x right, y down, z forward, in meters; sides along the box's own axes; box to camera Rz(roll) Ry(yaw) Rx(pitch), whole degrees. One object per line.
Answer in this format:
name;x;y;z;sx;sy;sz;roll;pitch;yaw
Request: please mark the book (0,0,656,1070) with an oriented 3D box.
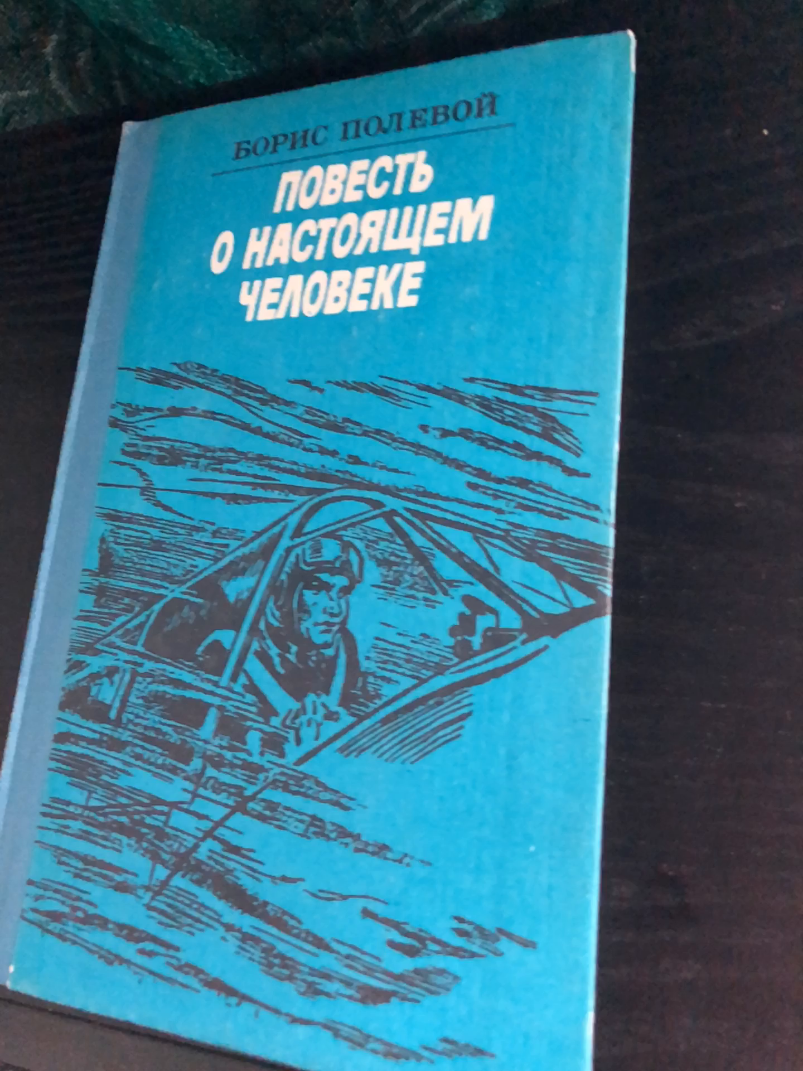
book;-0.018;-0.007;0.177;0.123;0.020;0.190;0;76;22
